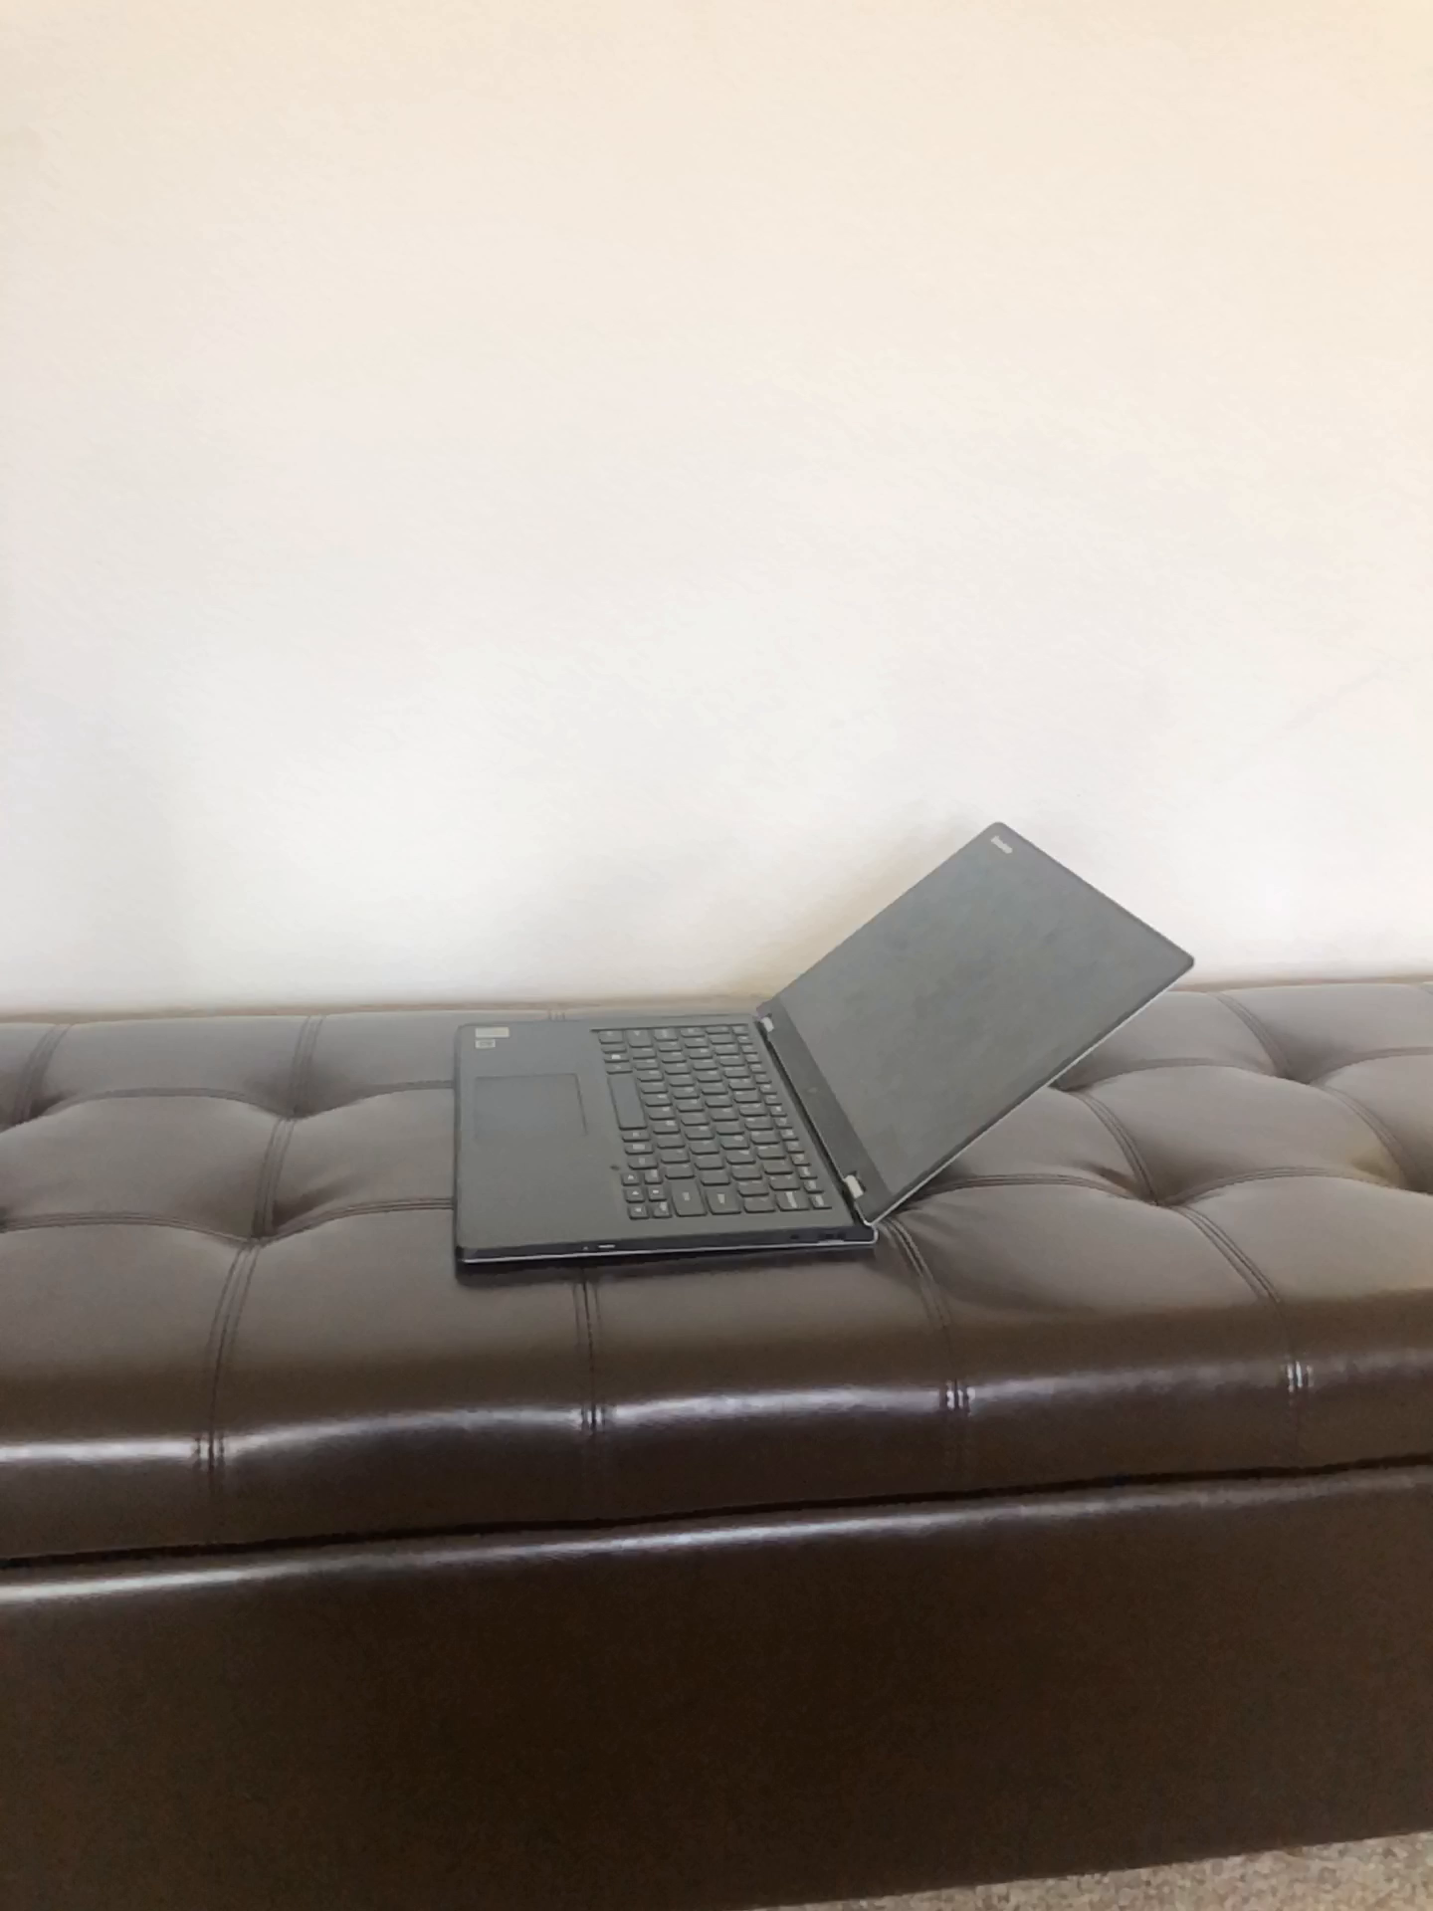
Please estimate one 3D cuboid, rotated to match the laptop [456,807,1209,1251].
[{"bbox_3d":[0.032,0.019,0.789,0.317,0.115,0.262,-3,18,-9],"label":"laptop"}]
